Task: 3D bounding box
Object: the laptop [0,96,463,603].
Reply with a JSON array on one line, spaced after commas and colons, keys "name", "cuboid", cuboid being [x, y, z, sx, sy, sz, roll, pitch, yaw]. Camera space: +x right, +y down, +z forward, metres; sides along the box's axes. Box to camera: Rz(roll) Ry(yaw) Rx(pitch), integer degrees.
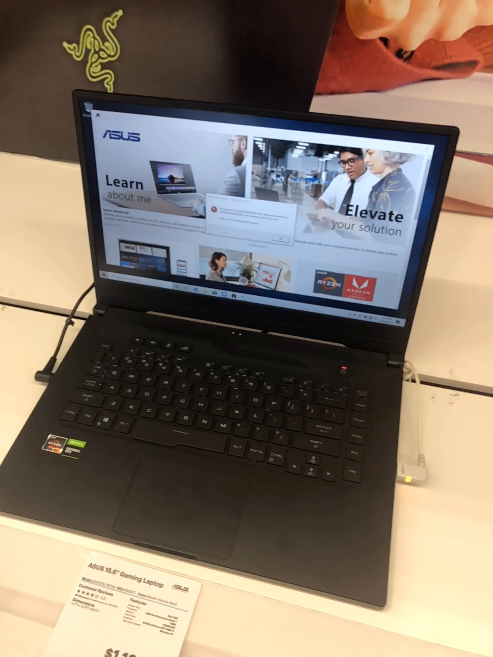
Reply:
[{"name": "laptop", "cuboid": [-0.031, -0.006, 0.460, 0.351, 0.222, 0.311, 10, 49, 11]}]
